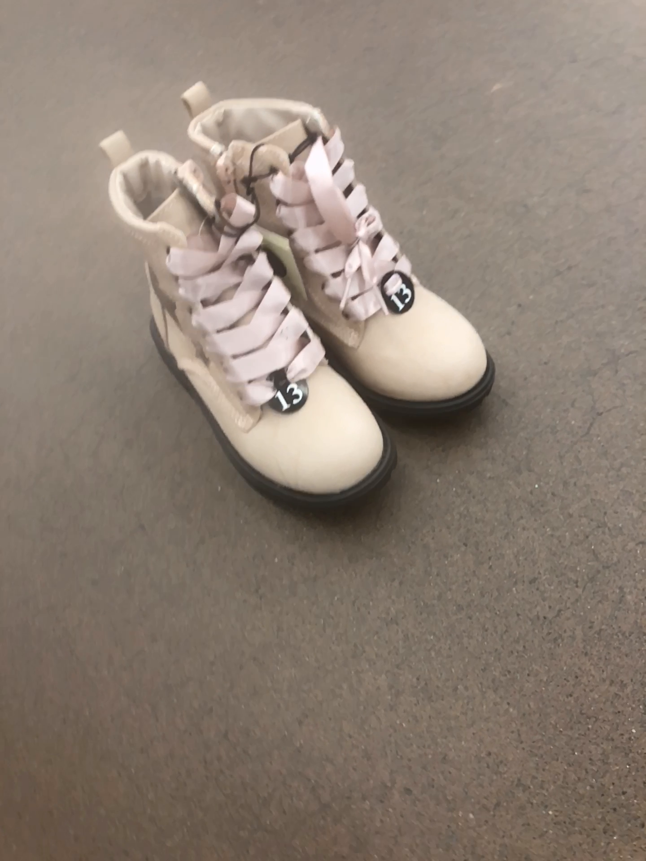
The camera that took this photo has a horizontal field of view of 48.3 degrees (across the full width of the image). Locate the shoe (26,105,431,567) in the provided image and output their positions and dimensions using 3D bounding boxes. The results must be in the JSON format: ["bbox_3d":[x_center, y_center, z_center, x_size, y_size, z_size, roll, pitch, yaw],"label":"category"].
[{"bbox_3d":[-0.050,-0.054,0.419,0.090,0.150,0.220,-37,63,-16],"label":"shoe"}]

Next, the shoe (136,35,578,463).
[{"bbox_3d":[0.015,-0.108,0.433,0.220,0.150,0.090,36,69,23],"label":"shoe"}]
